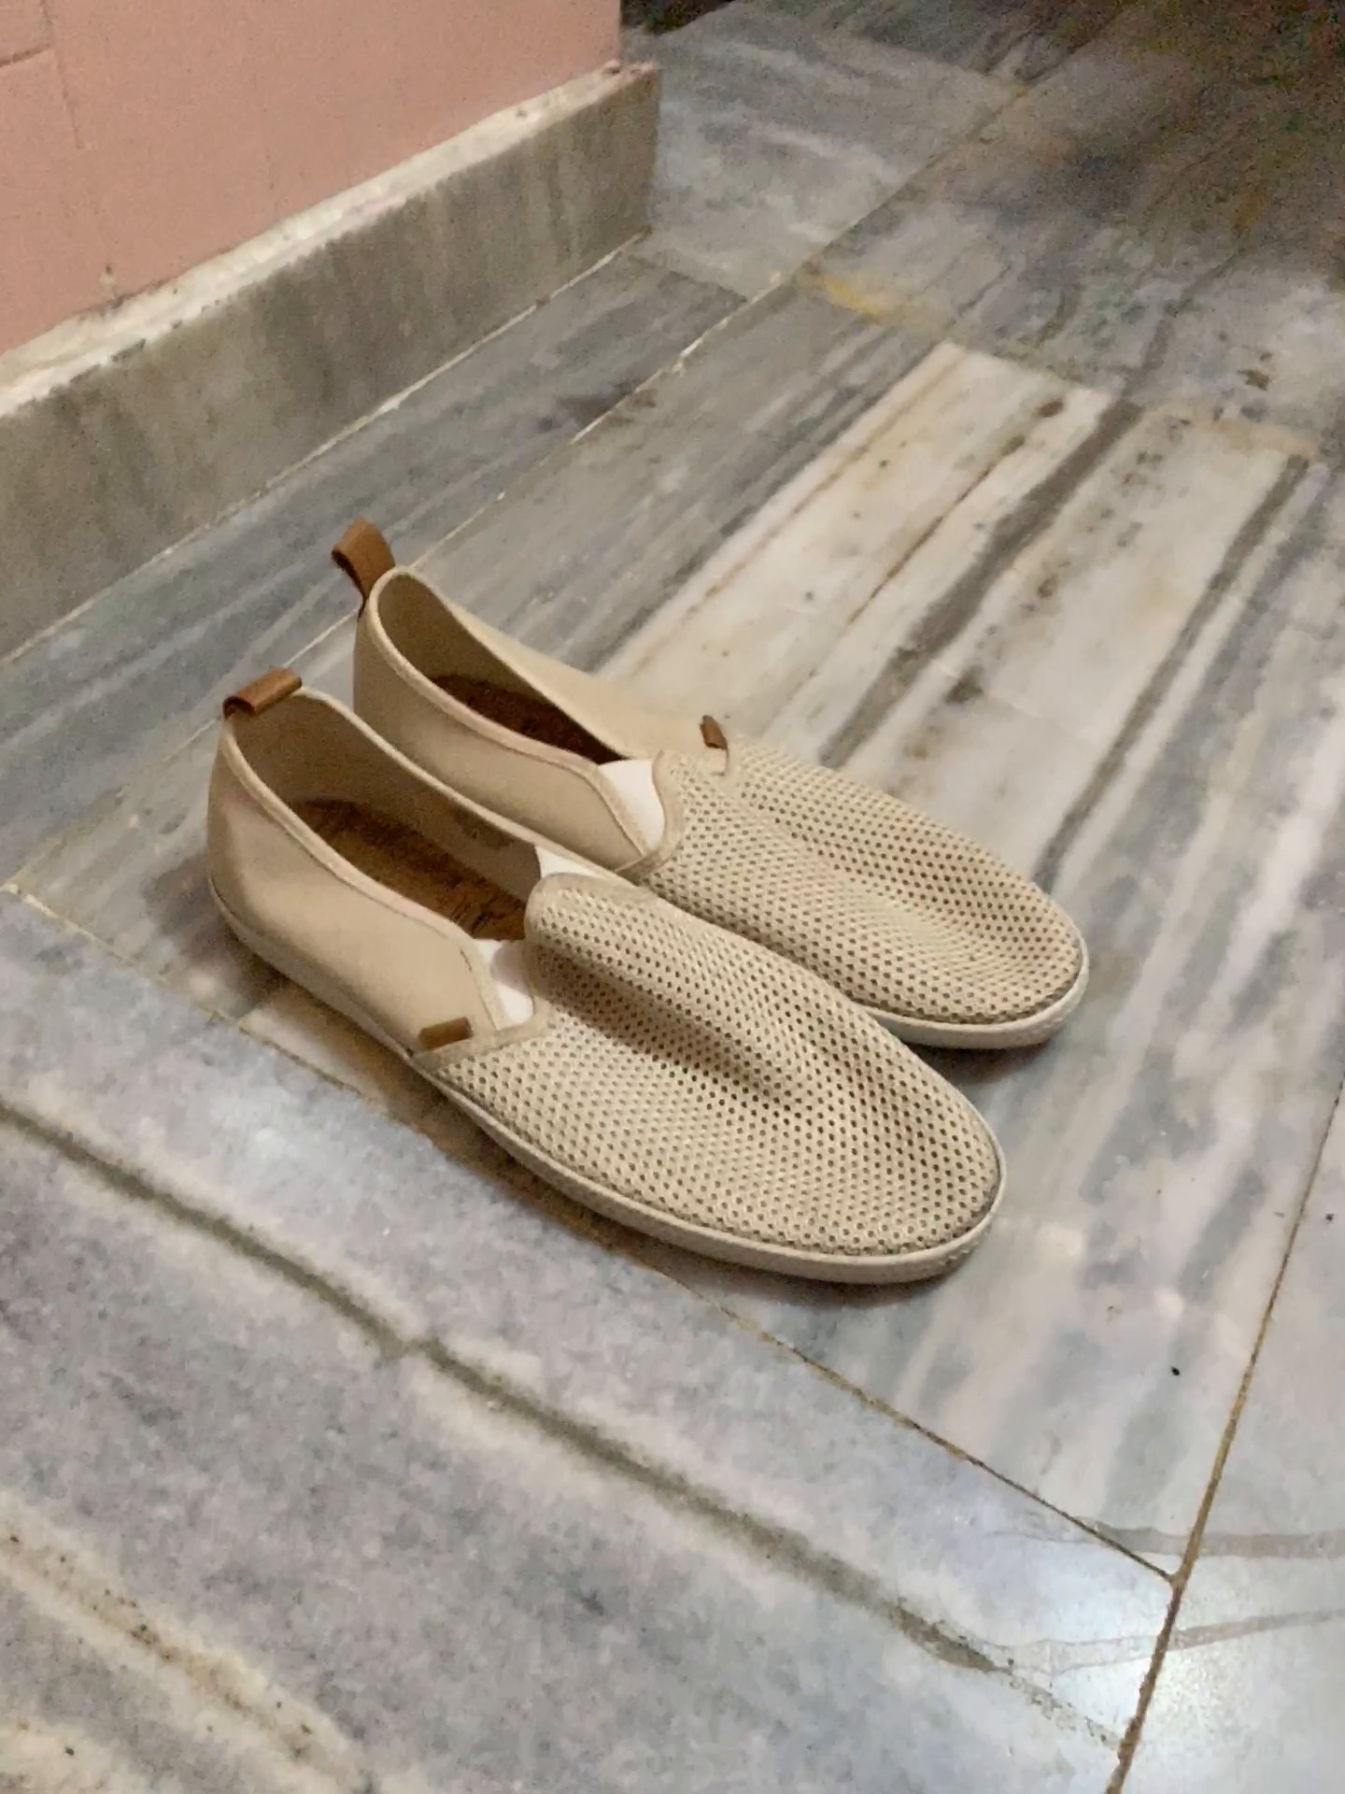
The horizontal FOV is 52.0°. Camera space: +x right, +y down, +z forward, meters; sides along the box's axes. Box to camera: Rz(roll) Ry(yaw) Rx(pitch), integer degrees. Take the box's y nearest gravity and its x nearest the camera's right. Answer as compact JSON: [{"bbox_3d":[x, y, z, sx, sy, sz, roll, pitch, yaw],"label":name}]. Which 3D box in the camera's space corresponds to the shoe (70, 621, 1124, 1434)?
[{"bbox_3d":[-0.031,0.027,0.452,0.310,0.080,0.116,27,52,18],"label":"shoe"}]

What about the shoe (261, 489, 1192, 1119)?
[{"bbox_3d":[0.015,-0.045,0.517,0.310,0.080,0.116,22,51,15],"label":"shoe"}]
